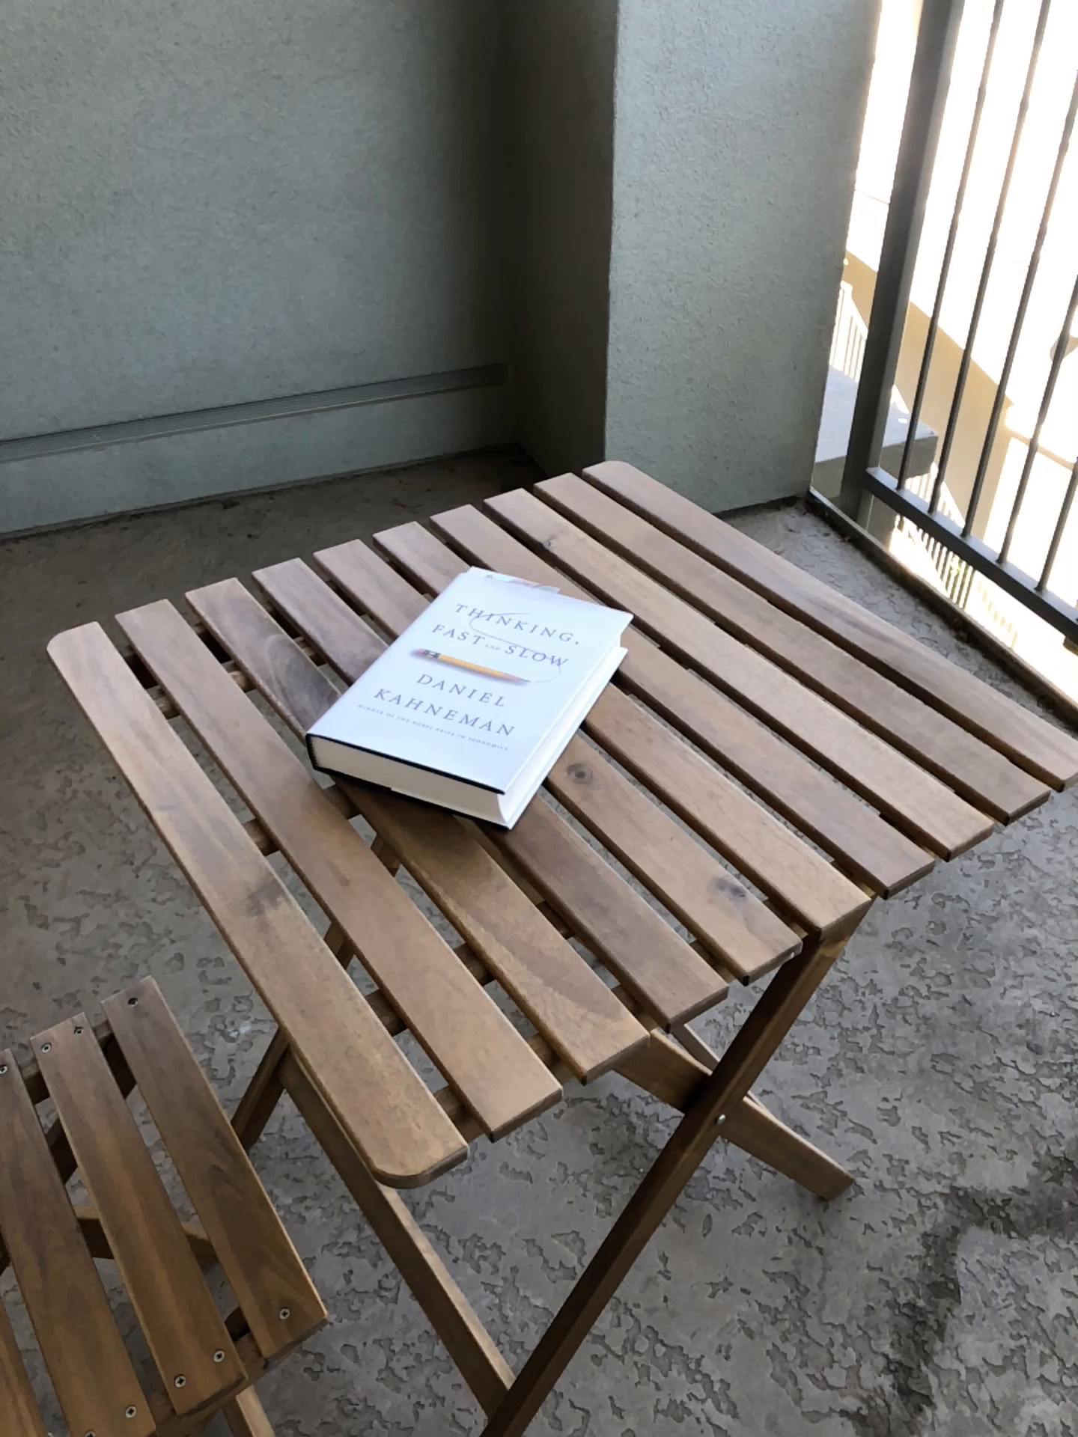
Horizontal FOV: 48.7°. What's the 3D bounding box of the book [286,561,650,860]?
[{"bbox_3d":[-0.045,-0.019,0.932,0.180,0.050,0.261,16,42,19],"label":"book"}]
